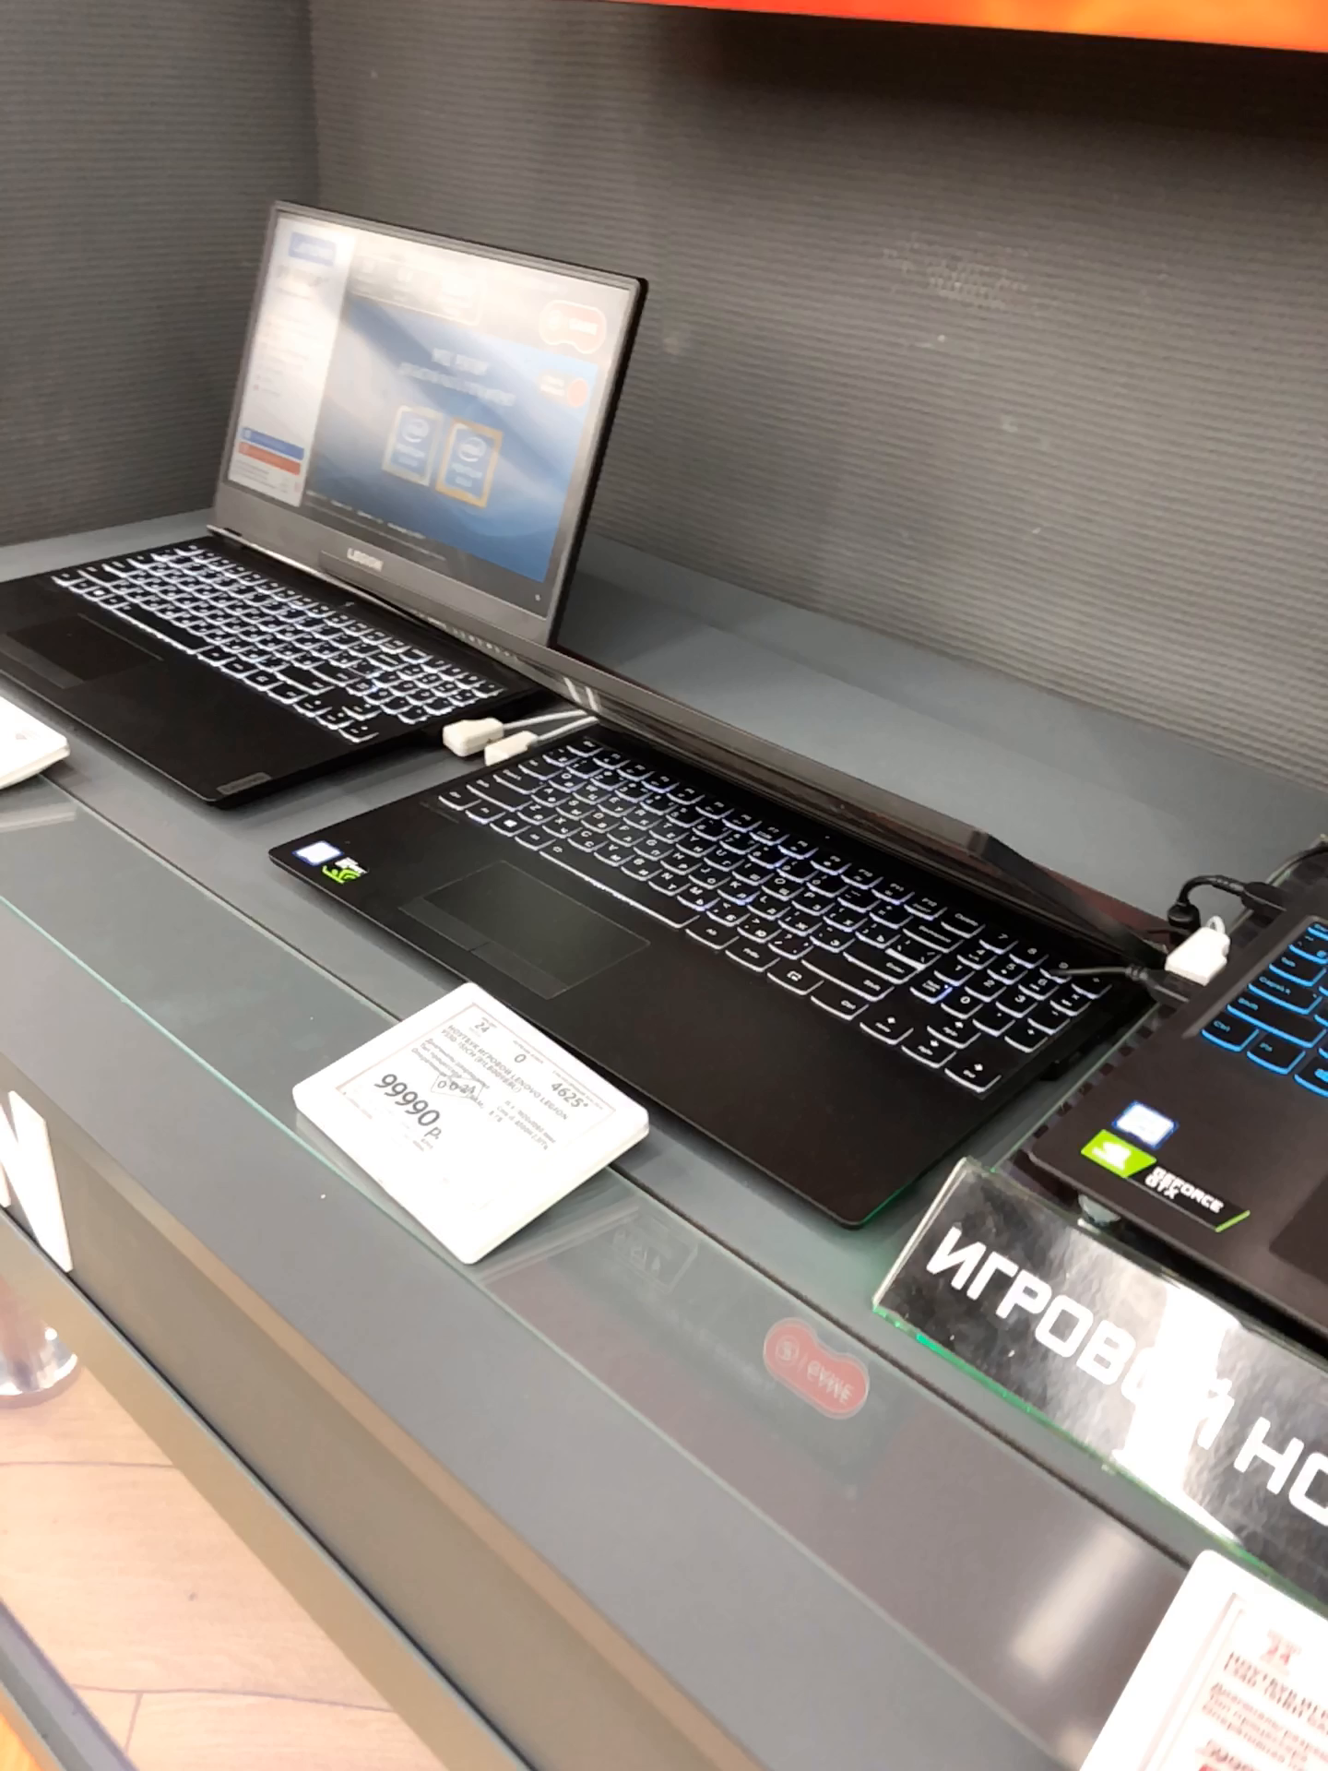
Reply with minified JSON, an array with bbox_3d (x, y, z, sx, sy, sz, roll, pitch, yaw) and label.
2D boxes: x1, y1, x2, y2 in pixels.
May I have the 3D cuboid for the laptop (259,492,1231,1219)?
[{"bbox_3d":[0.021,-0.049,0.655,0.353,0.136,0.228,28,38,34],"label":"laptop"}]

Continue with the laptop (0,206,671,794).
[{"bbox_3d":[-0.254,-0.267,0.904,0.364,0.231,0.308,28,39,36],"label":"laptop"}]
